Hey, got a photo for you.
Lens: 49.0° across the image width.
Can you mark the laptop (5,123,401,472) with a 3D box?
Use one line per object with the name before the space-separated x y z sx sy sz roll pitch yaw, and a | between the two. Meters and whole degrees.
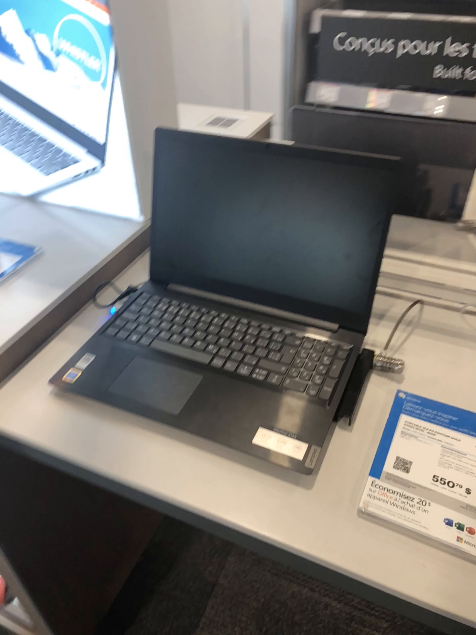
laptop | -0.019 -0.059 0.662 0.346 0.213 0.323 14 44 20
